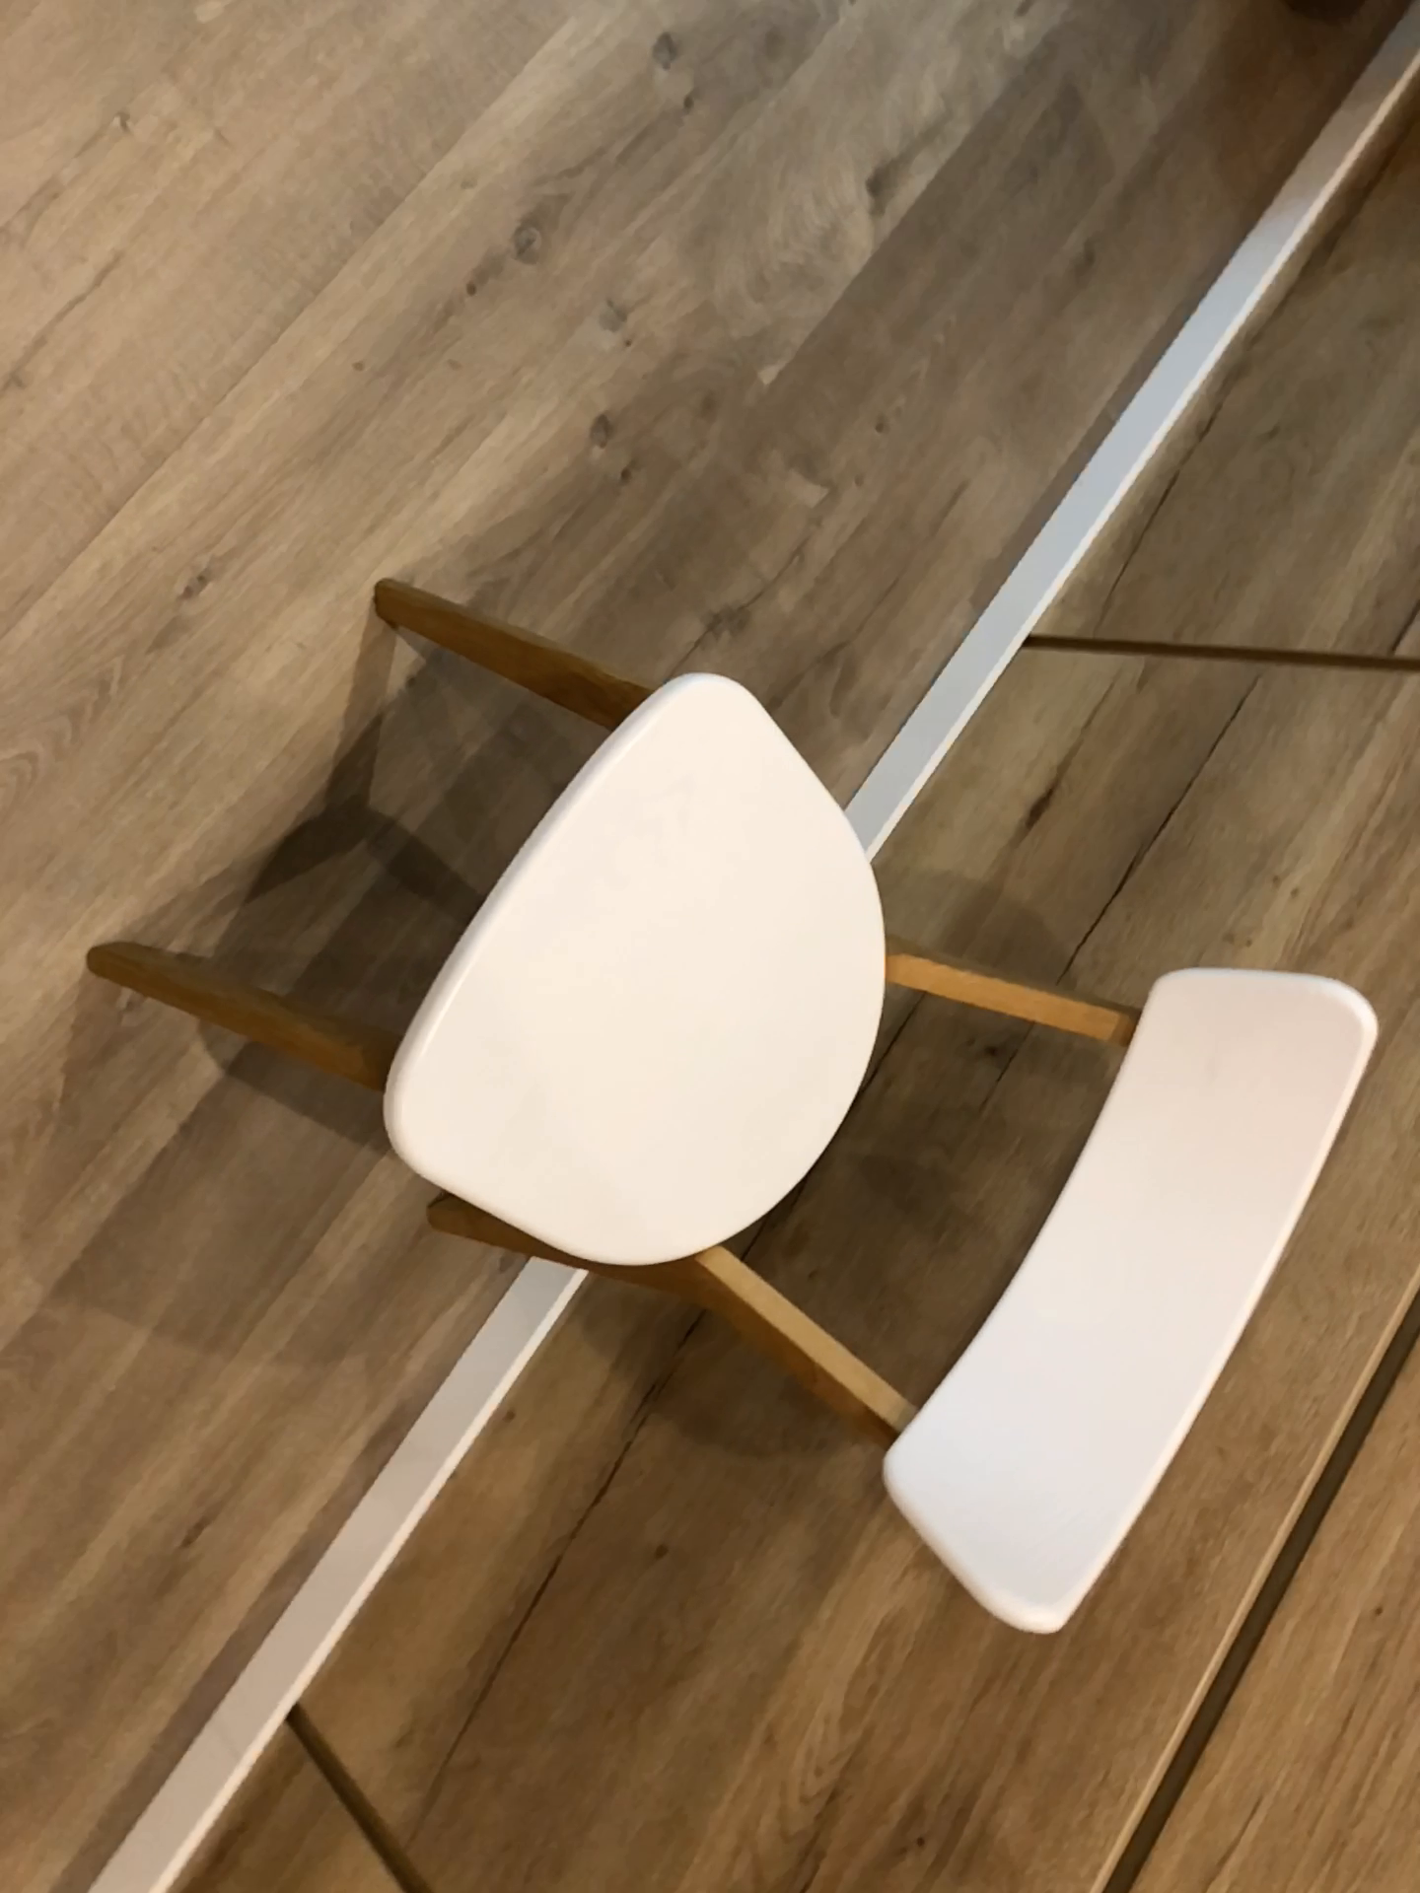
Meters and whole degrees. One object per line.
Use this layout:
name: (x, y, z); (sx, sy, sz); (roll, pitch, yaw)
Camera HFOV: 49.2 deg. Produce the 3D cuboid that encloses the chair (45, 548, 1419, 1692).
chair: (-0.026, 0.061, 1.224); (0.532, 0.826, 0.501); (42, 75, -38)
